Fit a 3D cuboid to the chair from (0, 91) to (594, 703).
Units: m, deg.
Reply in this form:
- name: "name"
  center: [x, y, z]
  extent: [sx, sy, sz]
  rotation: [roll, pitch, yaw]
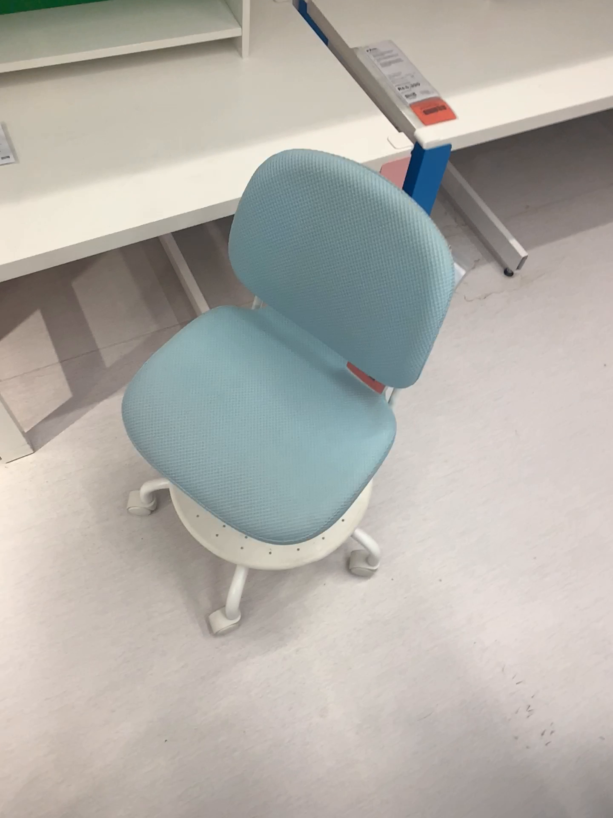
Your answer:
- name: "chair"
  center: [-0.046, 0.021, 1.091]
  extent: [0.580, 0.679, 0.611]
  rotation: [35, 63, 14]
